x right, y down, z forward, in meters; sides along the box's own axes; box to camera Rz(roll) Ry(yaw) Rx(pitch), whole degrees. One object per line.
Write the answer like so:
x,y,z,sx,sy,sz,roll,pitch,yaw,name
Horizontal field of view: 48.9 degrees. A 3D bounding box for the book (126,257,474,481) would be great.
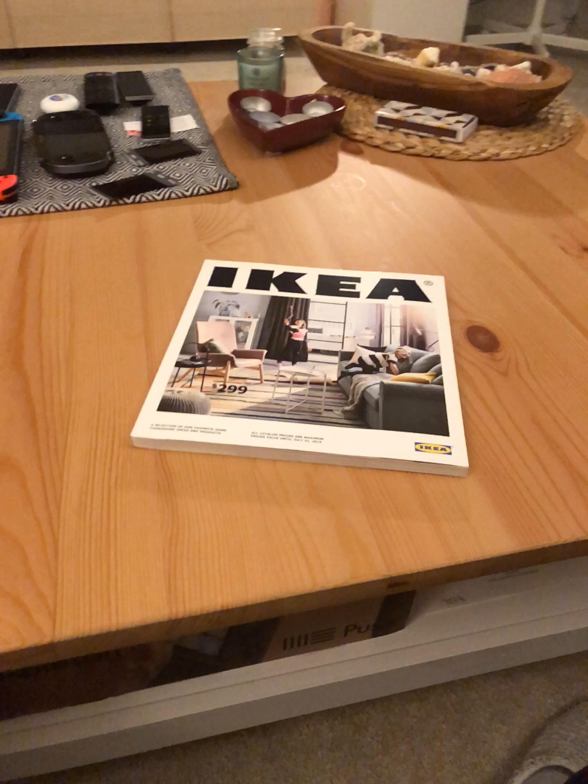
0.013,-0.031,0.475,0.210,0.015,0.217,5,41,3,book
